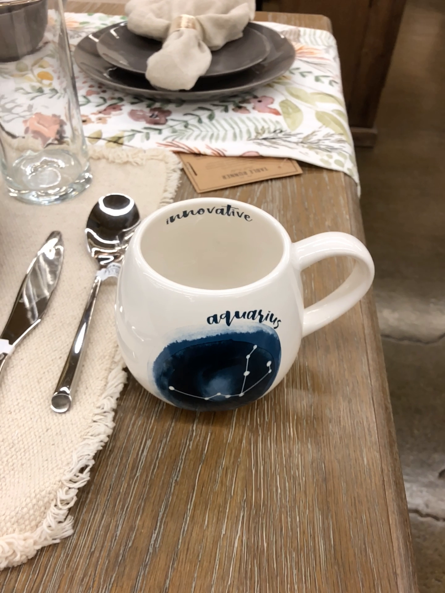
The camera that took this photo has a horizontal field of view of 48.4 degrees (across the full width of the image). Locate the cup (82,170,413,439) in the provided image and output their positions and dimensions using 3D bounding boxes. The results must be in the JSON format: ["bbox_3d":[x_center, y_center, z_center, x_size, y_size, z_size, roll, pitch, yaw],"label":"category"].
[{"bbox_3d":[0.007,0.000,0.259,0.134,0.081,0.083,-12,45,-14],"label":"cup"}]
